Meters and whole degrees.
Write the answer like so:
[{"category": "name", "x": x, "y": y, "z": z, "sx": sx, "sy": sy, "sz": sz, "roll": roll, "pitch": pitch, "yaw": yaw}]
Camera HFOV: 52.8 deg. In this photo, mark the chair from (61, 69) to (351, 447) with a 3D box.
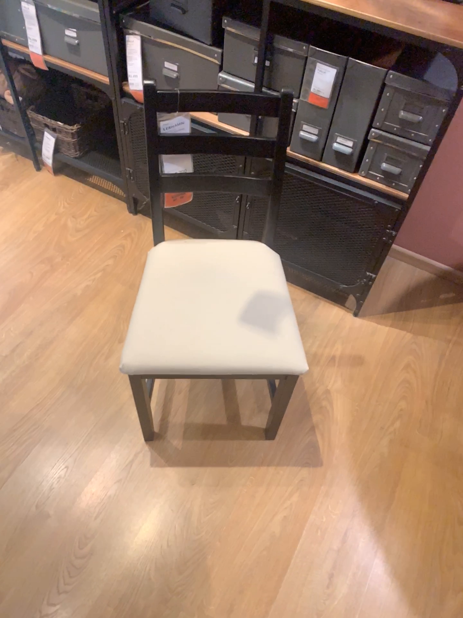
[{"category": "chair", "x": -0.059, "y": -0.047, "z": 1.093, "sx": 0.400, "sy": 0.768, "sz": 0.471, "roll": 1, "pitch": 53, "yaw": -3}]
